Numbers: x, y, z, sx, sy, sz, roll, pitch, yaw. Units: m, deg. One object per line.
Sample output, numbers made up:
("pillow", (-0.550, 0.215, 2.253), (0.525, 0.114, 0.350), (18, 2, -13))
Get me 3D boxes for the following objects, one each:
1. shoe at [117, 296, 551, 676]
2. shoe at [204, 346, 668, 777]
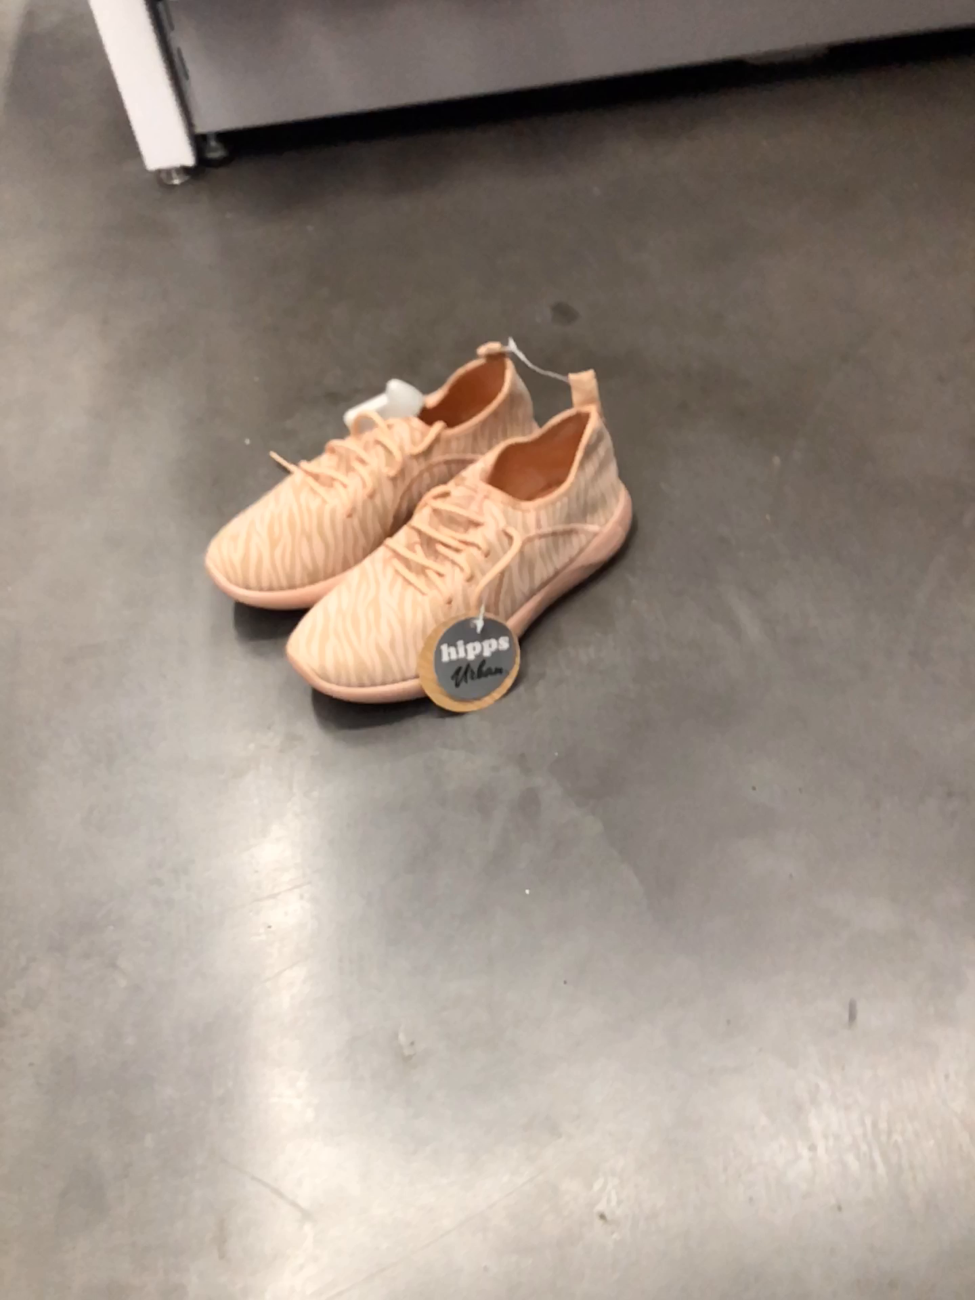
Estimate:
("shoe", (-0.084, -0.104, 0.660), (0.231, 0.100, 0.100), (-32, 57, -18))
("shoe", (-0.020, -0.054, 0.602), (0.231, 0.100, 0.100), (-35, 58, -20))
